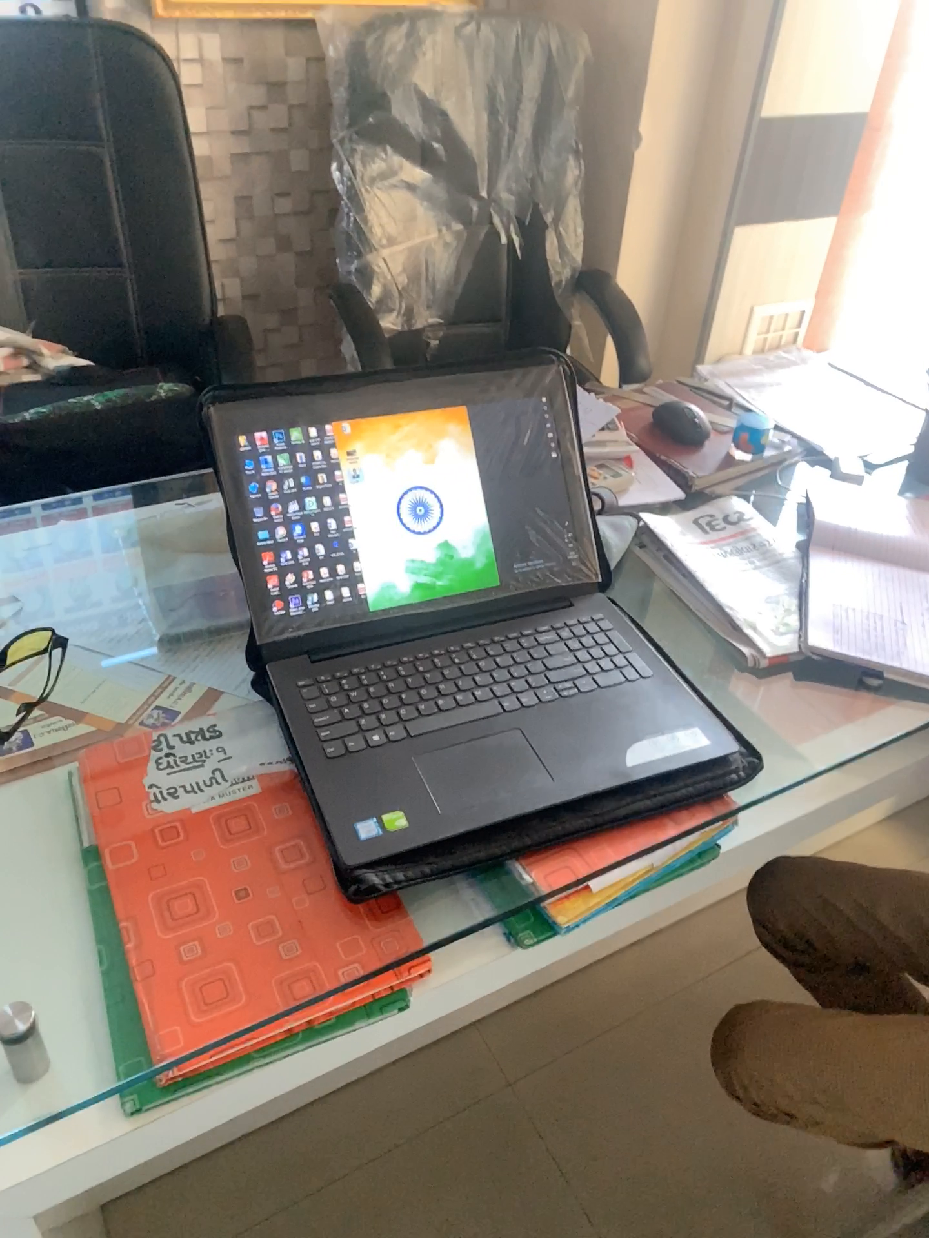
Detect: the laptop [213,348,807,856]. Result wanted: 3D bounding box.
[{"bbox_3d":[0.003,-0.052,0.798,0.334,0.175,0.392,-11,41,-19],"label":"laptop"}]
